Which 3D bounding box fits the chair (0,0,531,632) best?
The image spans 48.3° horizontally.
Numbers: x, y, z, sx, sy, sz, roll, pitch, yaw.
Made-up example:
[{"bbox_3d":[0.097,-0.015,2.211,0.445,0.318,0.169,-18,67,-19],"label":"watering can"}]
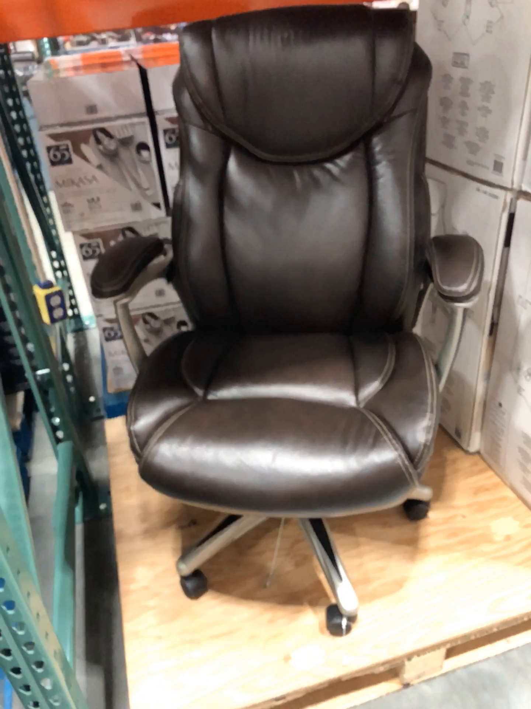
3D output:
[{"bbox_3d":[0.064,-0.117,1.175,0.660,1.095,0.723,-3,32,5],"label":"chair"}]
